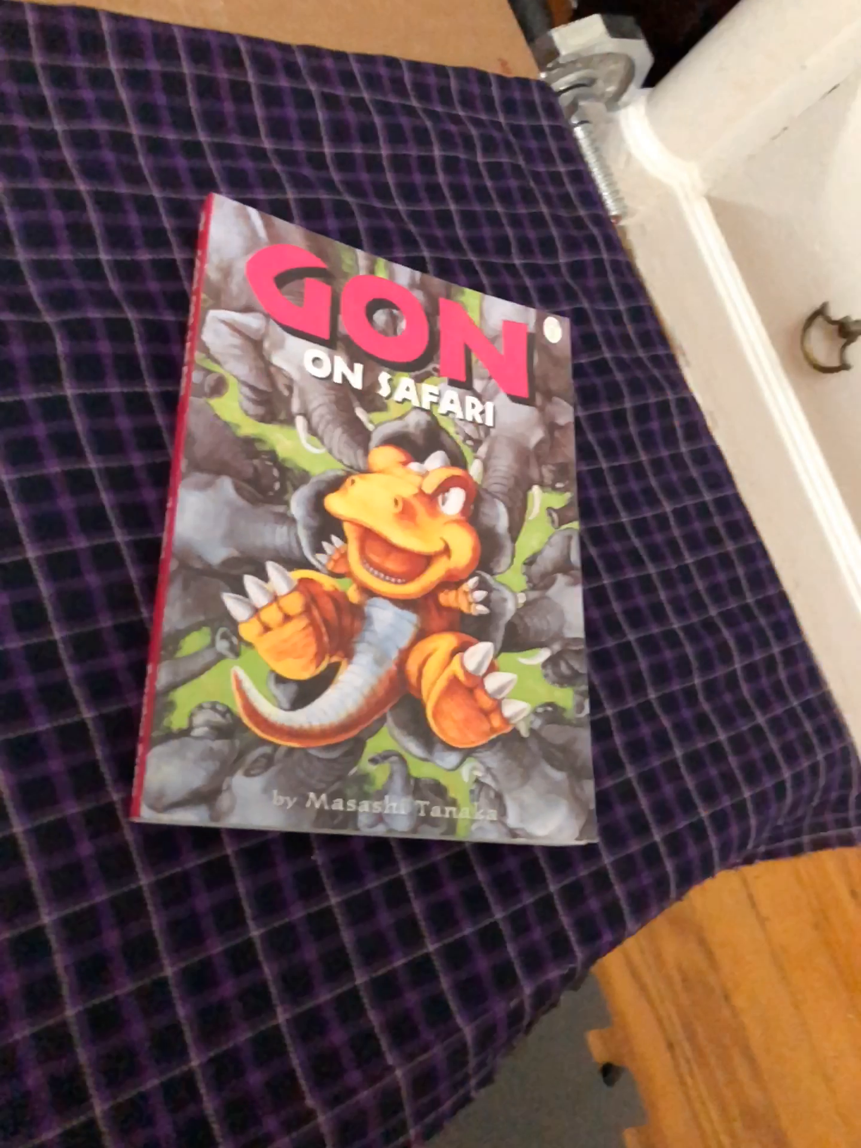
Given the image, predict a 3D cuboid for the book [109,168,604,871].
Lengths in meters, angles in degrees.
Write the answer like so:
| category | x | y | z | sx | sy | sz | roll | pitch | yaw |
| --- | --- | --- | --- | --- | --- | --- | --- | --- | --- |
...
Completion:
| category | x | y | z | sx | sy | sz | roll | pitch | yaw |
| --- | --- | --- | --- | --- | --- | --- | --- | --- | --- |
| book | -0.012 | -0.016 | 0.313 | 0.150 | 0.020 | 0.210 | 12 | 67 | -28 |
